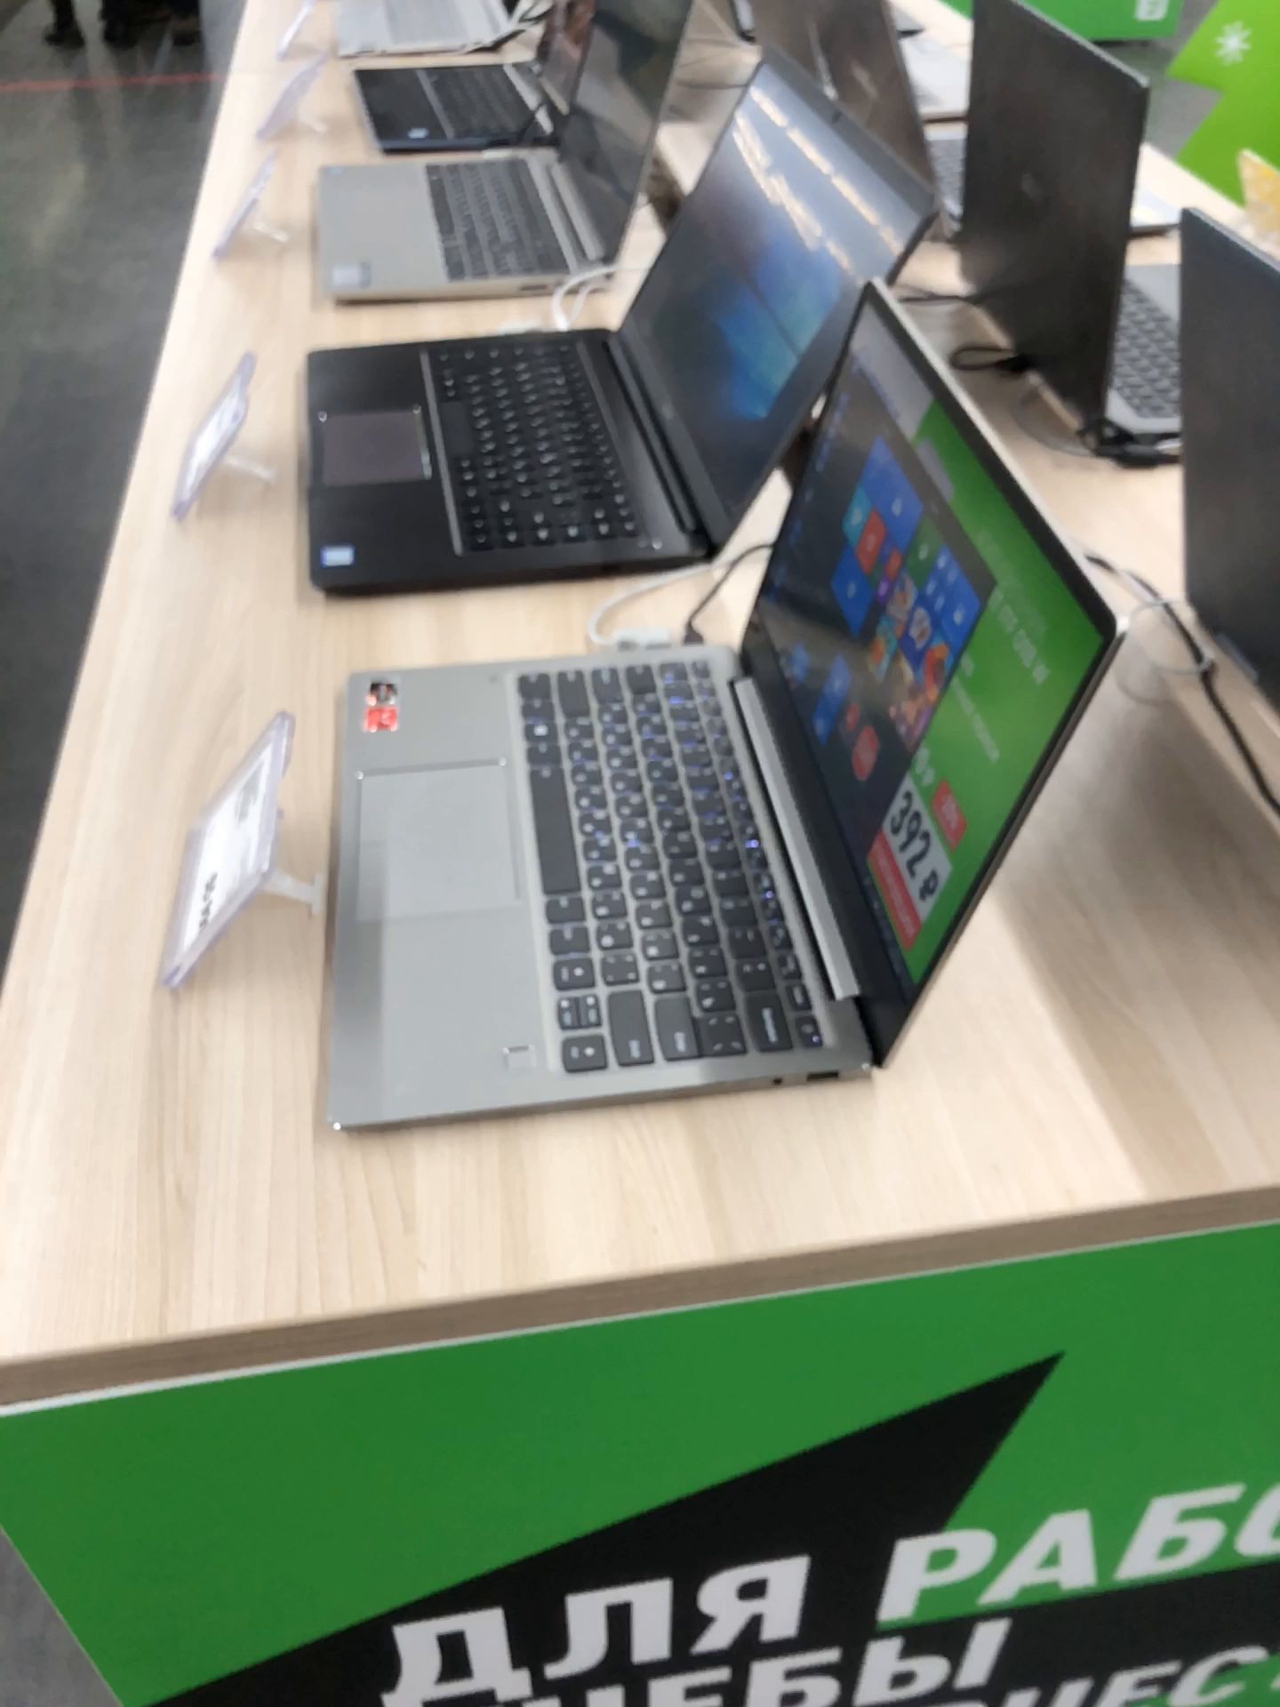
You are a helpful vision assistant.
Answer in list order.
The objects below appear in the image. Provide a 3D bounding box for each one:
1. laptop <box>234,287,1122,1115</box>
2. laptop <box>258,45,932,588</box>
[{"bbox_3d":[-0.004,-0.079,0.584,0.261,0.187,0.287,-5,41,-5],"label":"laptop"},{"bbox_3d":[-0.046,-0.355,0.899,0.339,0.188,0.346,-7,41,-7],"label":"laptop"}]
